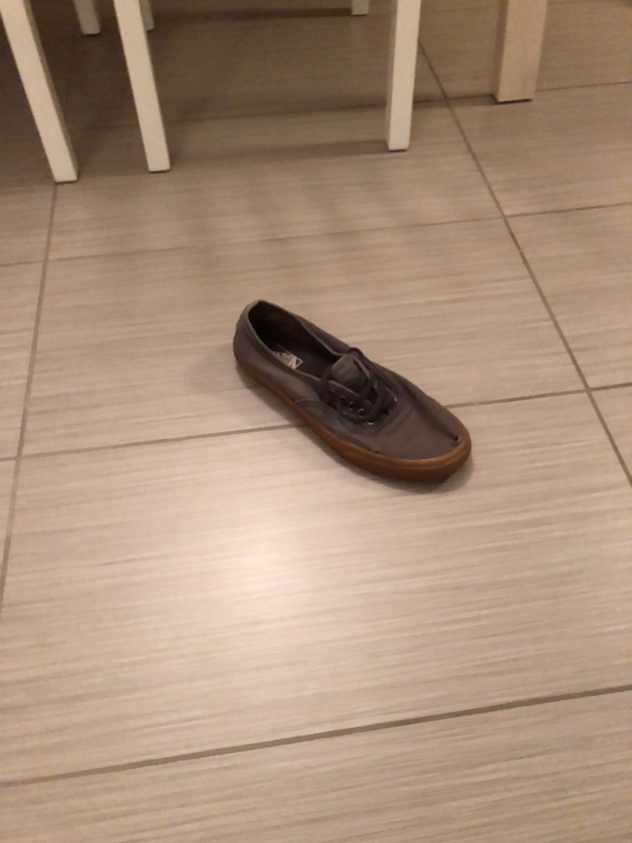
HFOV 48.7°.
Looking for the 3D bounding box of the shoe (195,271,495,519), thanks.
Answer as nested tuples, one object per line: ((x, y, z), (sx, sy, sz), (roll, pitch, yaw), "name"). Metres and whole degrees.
((0.021, -0.037, 0.705), (0.290, 0.060, 0.110), (35, 61, 25), "shoe")
